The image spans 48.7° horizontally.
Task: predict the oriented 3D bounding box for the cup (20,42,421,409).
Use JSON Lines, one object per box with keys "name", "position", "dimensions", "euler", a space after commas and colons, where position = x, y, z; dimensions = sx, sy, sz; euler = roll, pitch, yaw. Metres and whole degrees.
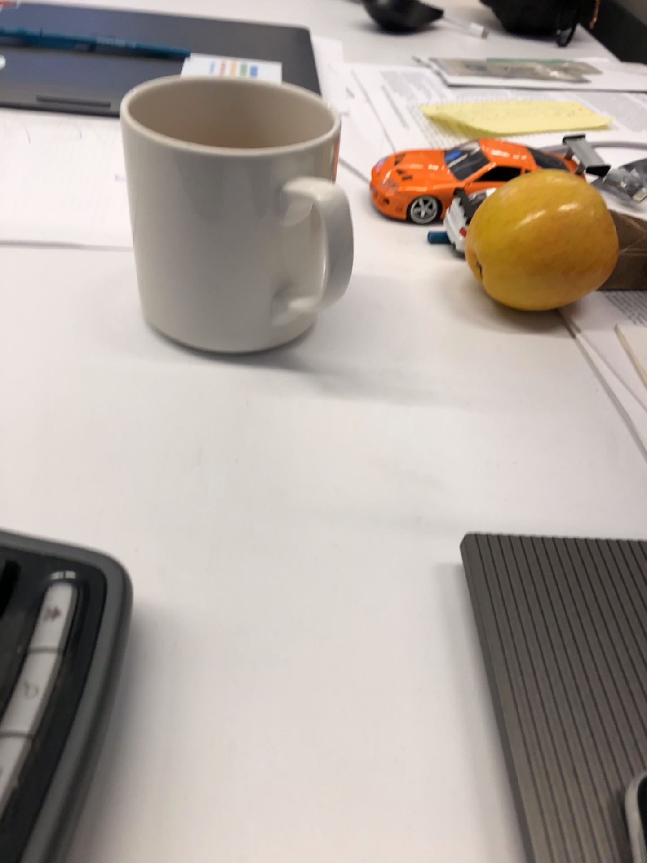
{"name": "cup", "position": [-0.041, -0.086, 0.275], "dimensions": [0.120, 0.080, 0.080], "euler": [36, 49, 29]}
